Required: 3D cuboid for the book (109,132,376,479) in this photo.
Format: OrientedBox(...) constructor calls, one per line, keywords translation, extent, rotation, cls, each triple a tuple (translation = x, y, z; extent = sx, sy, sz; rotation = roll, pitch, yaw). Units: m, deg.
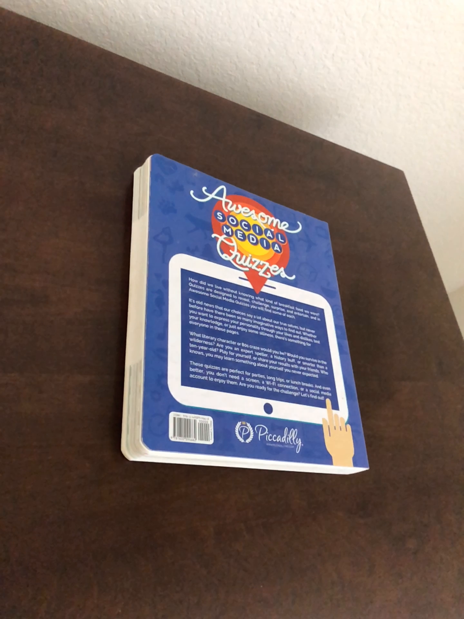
OrientedBox(translation=(0.010, 0.000, 0.354), extent=(0.174, 0.030, 0.214), rotation=(14, 58, -31), cls="book")
